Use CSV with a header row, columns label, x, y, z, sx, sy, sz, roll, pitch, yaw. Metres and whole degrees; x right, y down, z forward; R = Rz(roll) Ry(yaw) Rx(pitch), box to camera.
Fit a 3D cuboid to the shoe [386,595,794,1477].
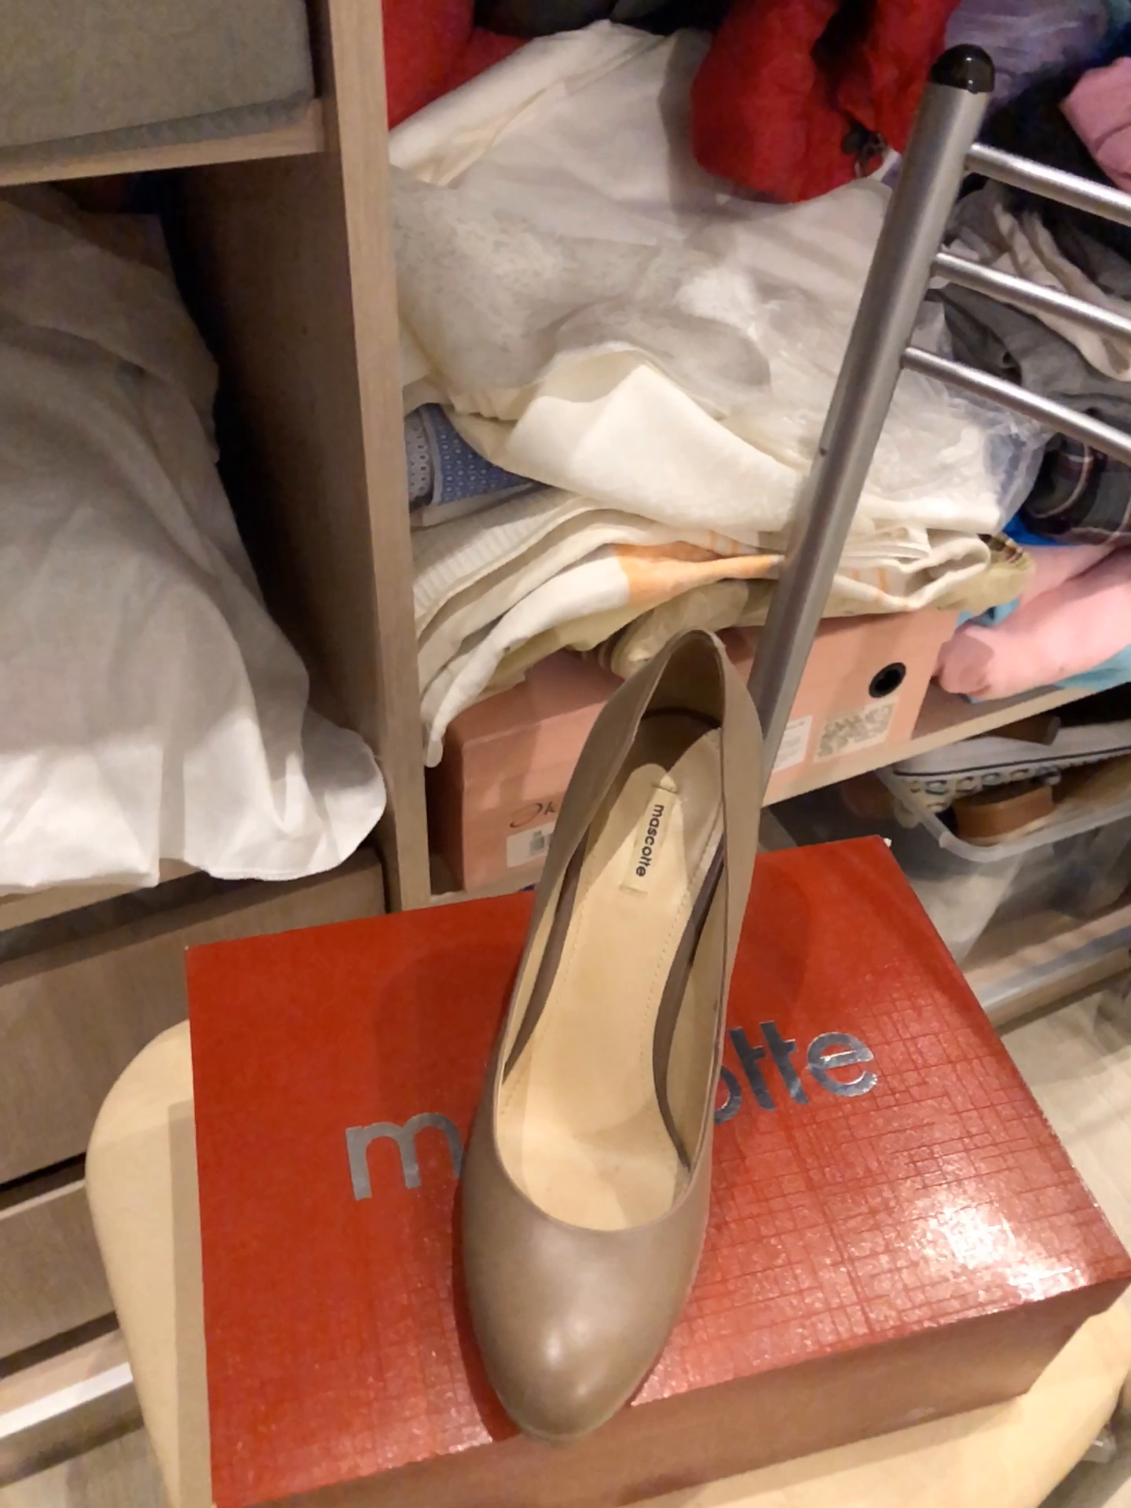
label,x,y,z,sx,sy,sz,roll,pitch,yaw
shoe,0.016,0.077,0.390,0.083,0.145,0.216,8,43,5
